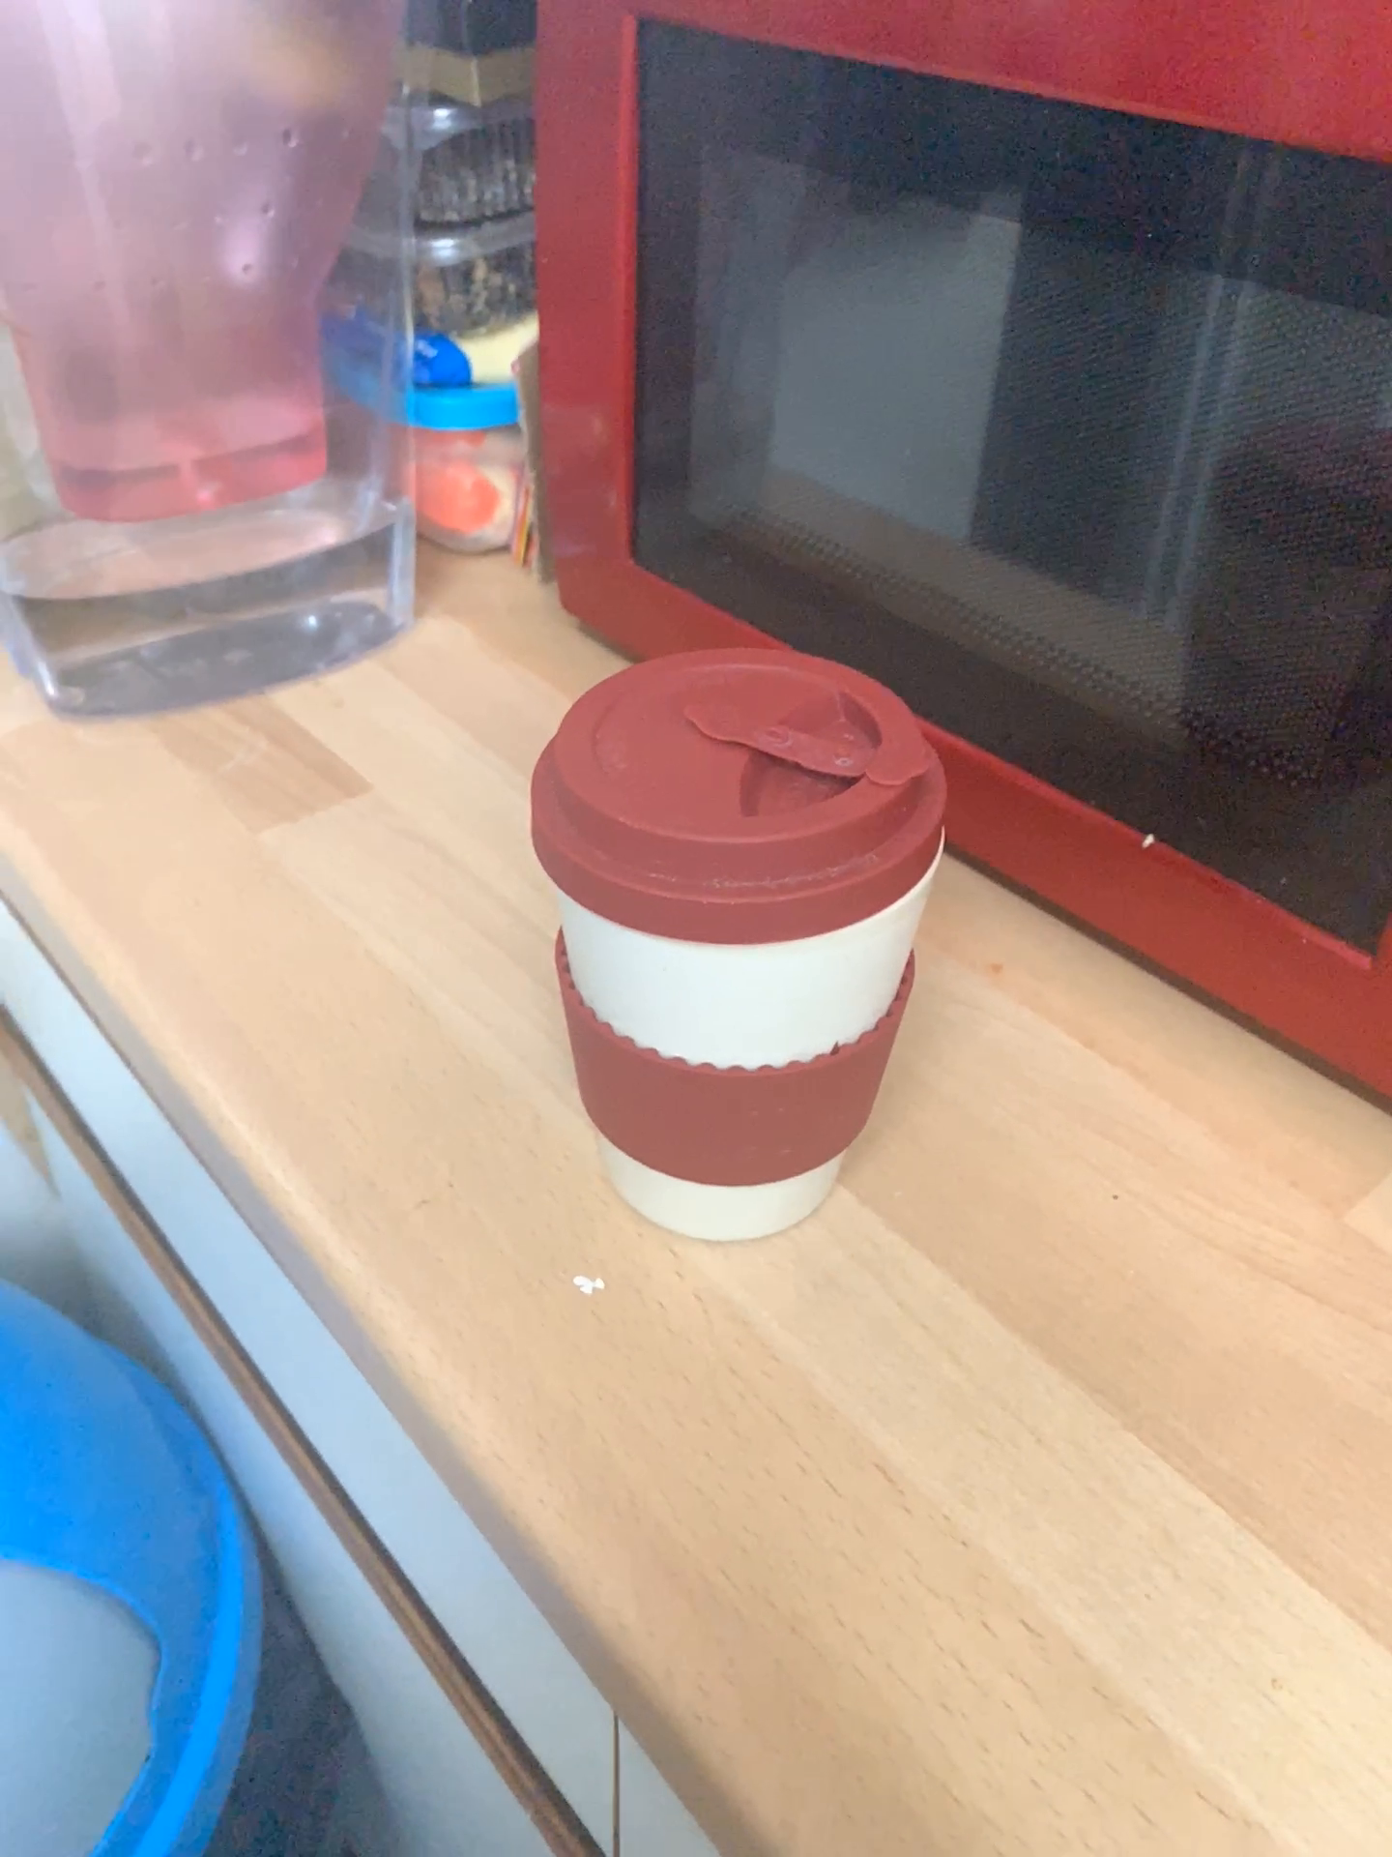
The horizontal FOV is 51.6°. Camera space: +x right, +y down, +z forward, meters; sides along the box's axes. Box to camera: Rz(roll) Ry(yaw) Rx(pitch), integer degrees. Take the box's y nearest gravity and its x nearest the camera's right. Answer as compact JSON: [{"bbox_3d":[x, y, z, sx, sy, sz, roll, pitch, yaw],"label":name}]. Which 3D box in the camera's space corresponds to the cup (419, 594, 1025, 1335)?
[{"bbox_3d":[0.004,0.005,0.326,0.086,0.115,0.088,1,39,-1],"label":"cup"}]
